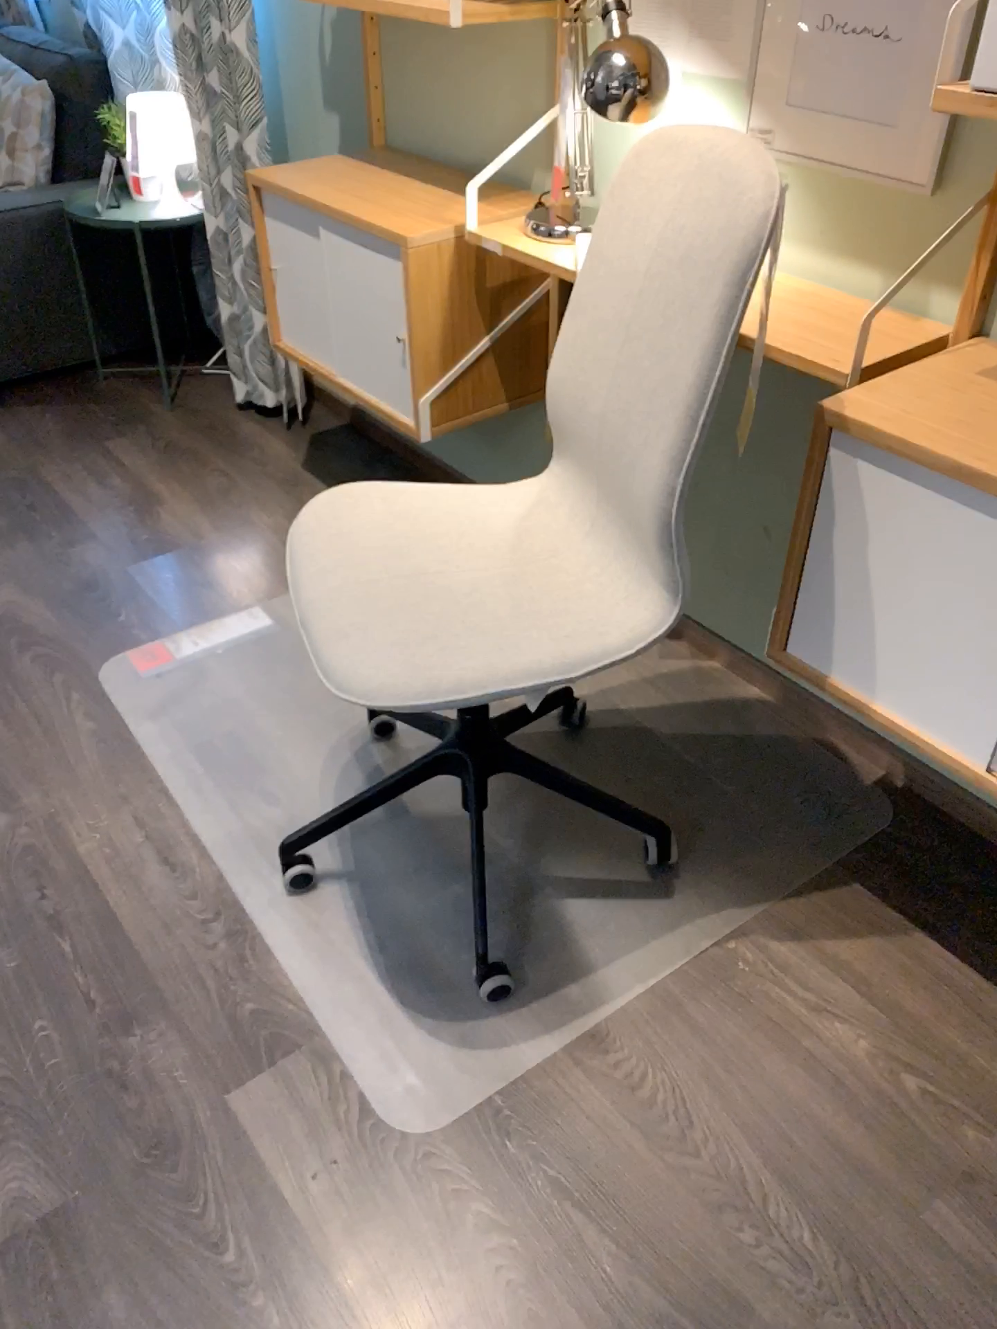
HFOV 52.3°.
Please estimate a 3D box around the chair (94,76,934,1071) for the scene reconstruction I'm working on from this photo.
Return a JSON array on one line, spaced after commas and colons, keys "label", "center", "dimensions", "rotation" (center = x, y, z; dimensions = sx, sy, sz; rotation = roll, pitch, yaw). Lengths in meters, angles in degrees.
[{"label": "chair", "center": [-0.050, -0.137, 1.354], "dimensions": [0.670, 1.015, 0.673], "rotation": [-13, 39, -16]}]
